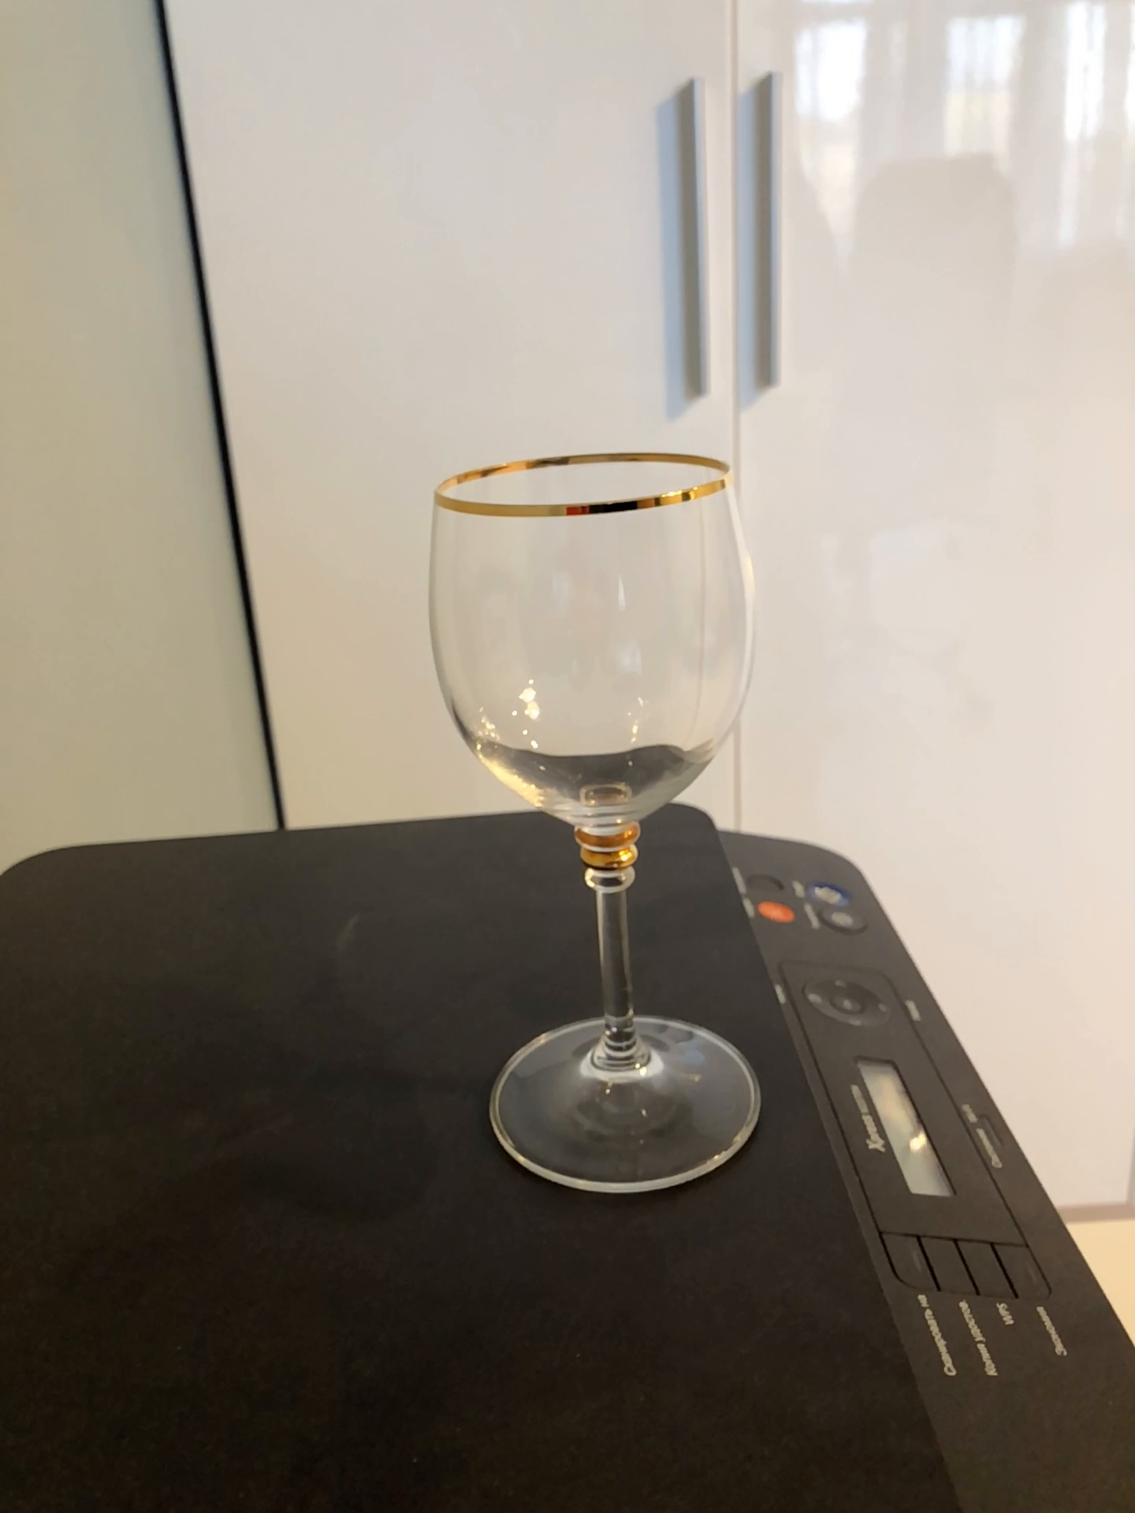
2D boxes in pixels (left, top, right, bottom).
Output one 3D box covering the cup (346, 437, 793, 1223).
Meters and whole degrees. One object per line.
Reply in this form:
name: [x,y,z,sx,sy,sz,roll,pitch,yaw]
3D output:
cup: [0.006,0.017,0.328,0.086,0.177,0.087,-5,21,2]
